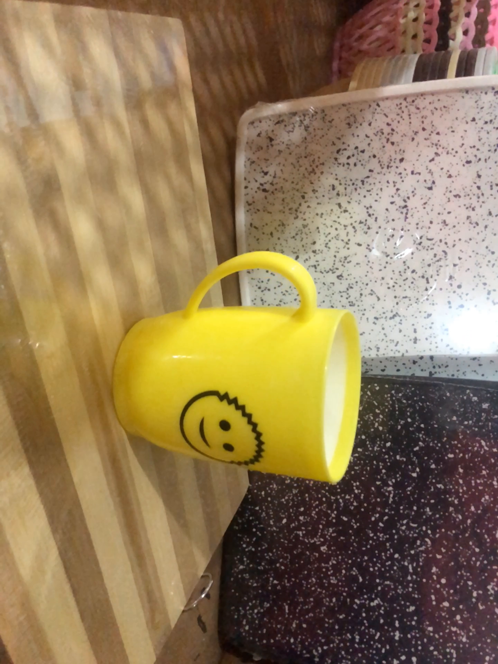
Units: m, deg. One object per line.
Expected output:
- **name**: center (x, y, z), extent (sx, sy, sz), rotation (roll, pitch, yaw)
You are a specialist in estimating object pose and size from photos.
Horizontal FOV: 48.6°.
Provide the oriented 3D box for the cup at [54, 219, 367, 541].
- **cup**: center (-0.006, 0.016, 0.251), extent (0.080, 0.099, 0.110), rotation (-53, 140, -54)
